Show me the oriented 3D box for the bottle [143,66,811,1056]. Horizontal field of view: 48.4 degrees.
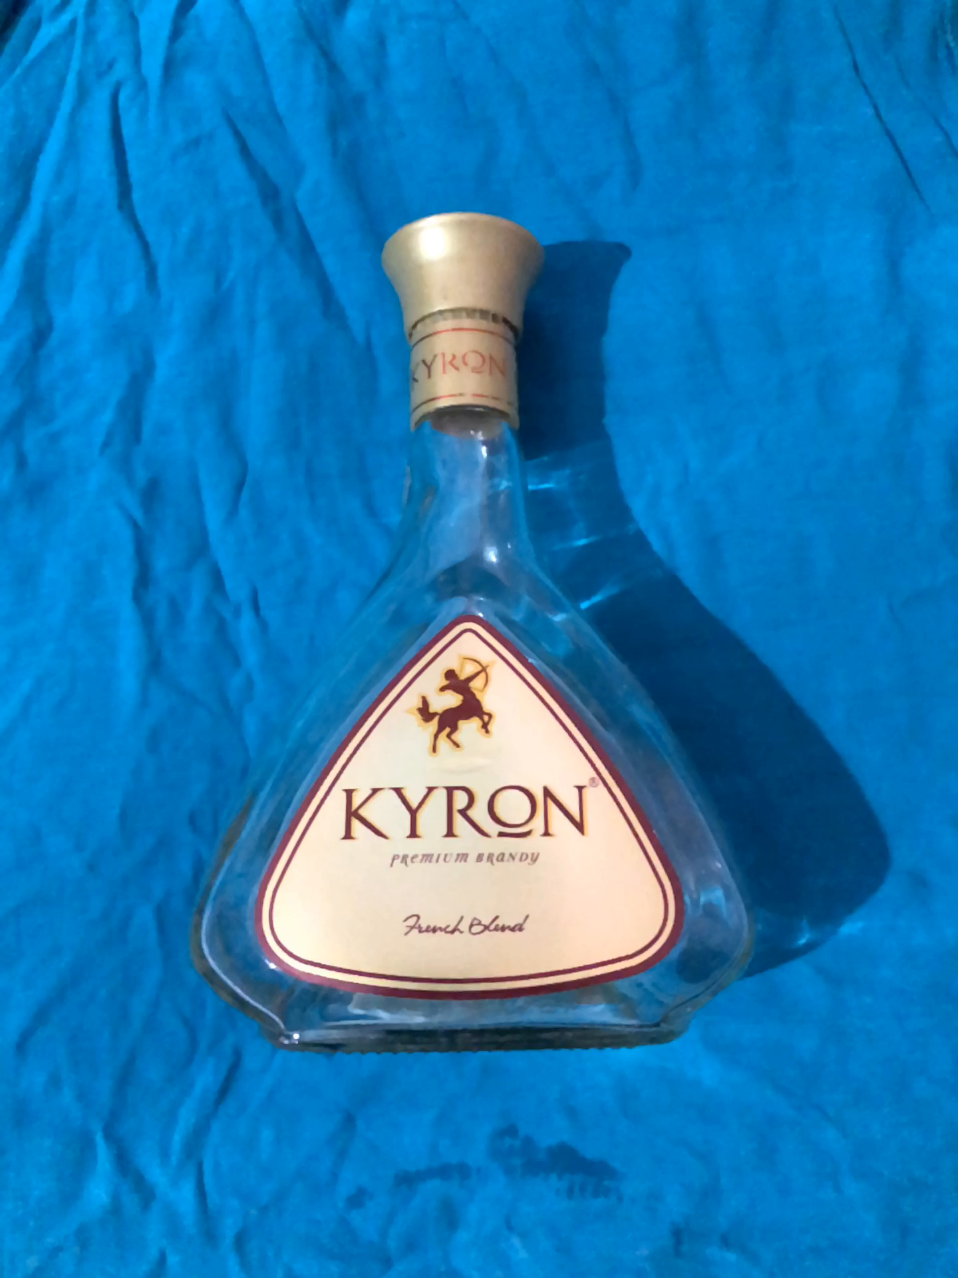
[{"bbox_3d":[-0.002,-0.019,0.298,0.150,0.080,0.240,-2,80,5],"label":"bottle"}]
